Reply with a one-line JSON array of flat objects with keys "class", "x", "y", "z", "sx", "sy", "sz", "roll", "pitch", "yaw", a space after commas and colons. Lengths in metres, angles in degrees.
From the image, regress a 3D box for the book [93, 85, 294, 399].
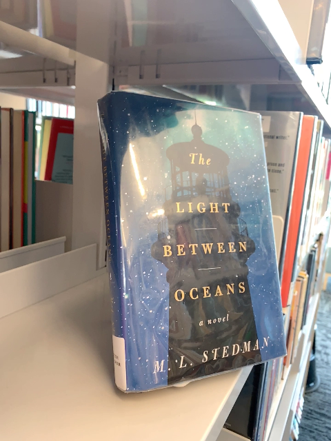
[{"class": "book", "x": 0.025, "y": 0.010, "z": 0.300, "sx": 0.155, "sy": 0.225, "sz": 0.042, "roll": -1, "pitch": -7, "yaw": -26}]
